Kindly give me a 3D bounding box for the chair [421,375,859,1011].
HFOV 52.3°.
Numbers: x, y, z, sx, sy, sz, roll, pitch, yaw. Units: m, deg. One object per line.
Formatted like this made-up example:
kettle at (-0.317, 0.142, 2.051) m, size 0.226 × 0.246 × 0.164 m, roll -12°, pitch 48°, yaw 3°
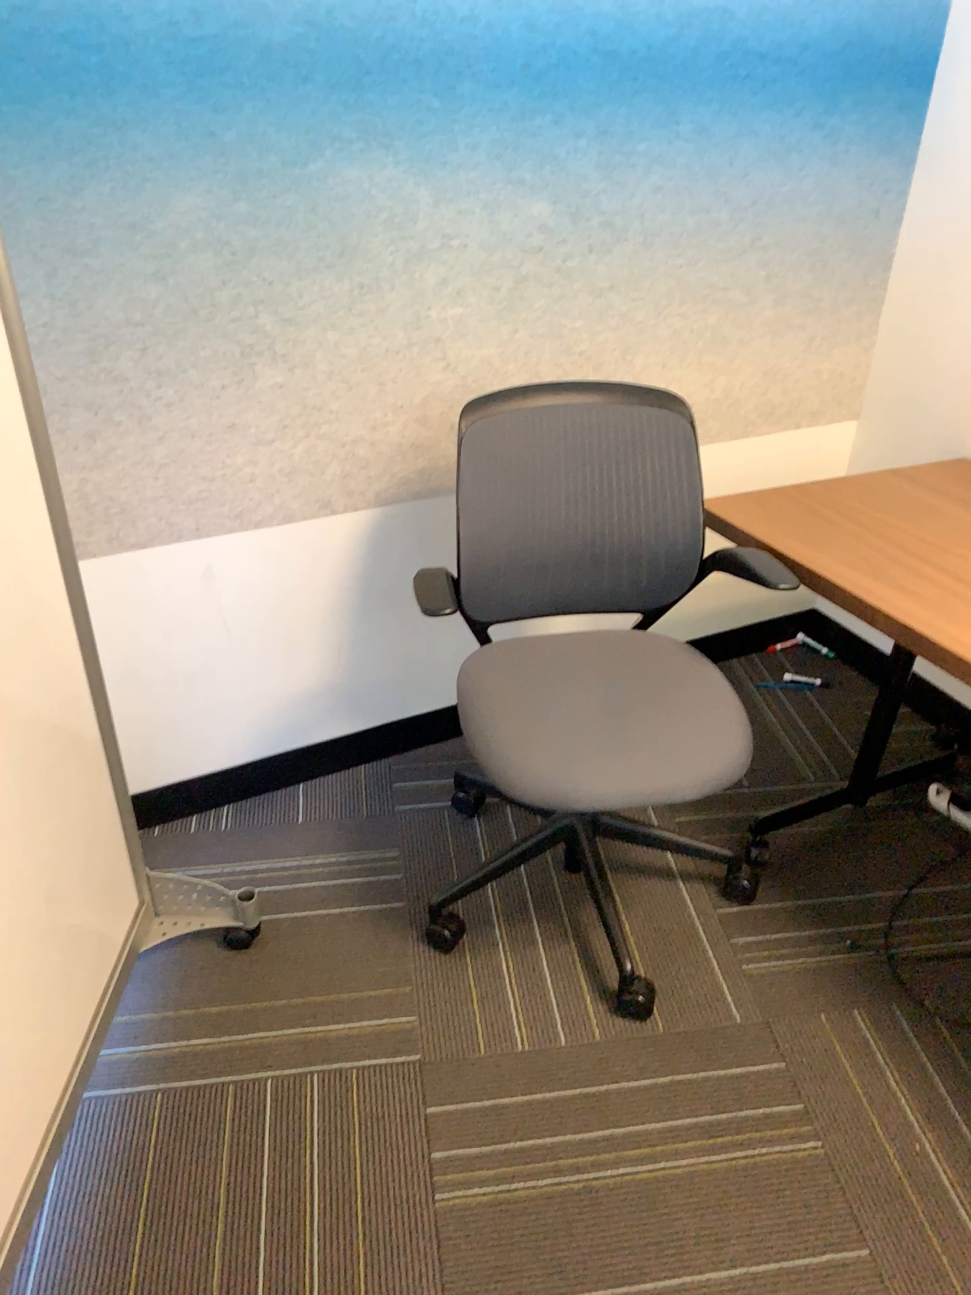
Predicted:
chair at (0.178, 0.068, 1.713) m, size 0.540 × 0.935 × 0.533 m, roll -2°, pitch 29°, yaw -6°
